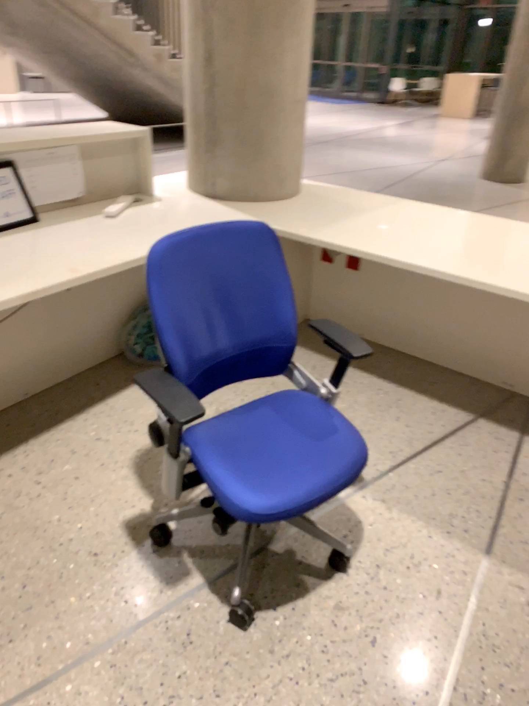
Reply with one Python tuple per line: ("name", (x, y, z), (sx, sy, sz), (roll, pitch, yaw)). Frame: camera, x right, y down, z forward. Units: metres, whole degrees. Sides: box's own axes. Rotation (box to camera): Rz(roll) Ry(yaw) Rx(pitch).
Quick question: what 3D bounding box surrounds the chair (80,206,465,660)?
("chair", (-0.008, 0.140, 1.517), (0.688, 0.880, 0.650), (-19, 36, -35))
